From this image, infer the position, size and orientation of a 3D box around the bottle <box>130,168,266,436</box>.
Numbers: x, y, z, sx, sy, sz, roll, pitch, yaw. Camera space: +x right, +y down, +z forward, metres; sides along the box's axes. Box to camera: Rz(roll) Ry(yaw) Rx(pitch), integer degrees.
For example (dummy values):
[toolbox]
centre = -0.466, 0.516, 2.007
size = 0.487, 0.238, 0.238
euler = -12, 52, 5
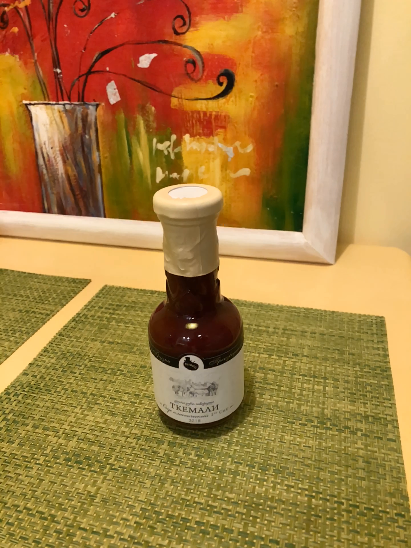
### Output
[bottle]
centre = 0.001, 0.019, 0.300
size = 0.070, 0.159, 0.070
euler = -1, 27, 0
